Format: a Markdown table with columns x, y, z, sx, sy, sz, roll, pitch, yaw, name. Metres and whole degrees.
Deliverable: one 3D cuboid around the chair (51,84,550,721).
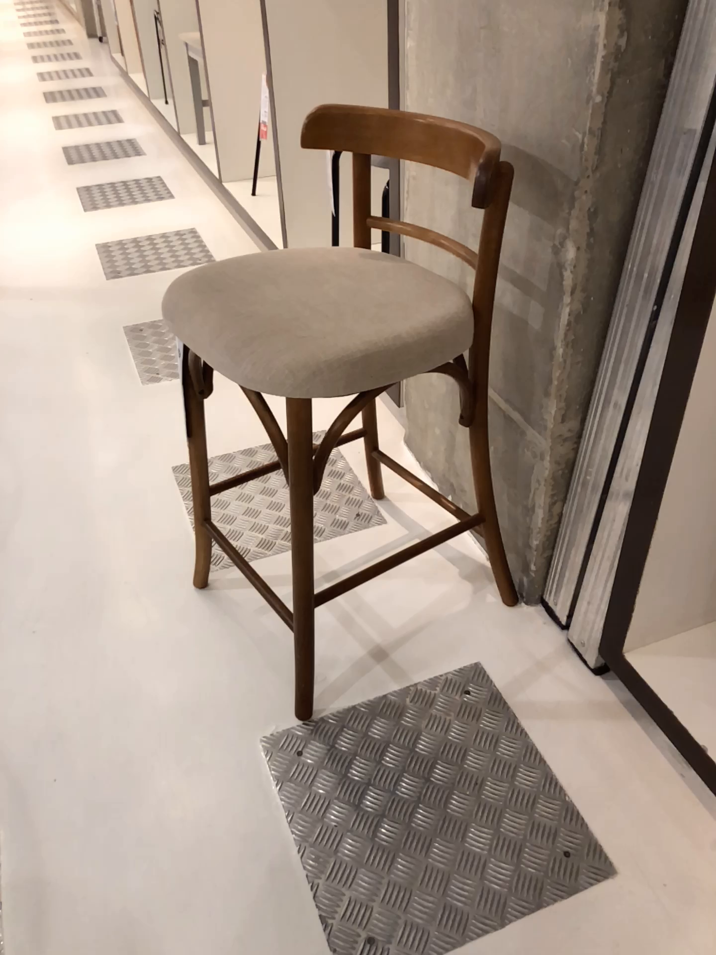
| x | y | z | sx | sy | sz | roll | pitch | yaw | name |
| --- | --- | --- | --- | --- | --- | --- | --- | --- | --- |
| -0.079 | -0.136 | 1.276 | 0.481 | 0.794 | 0.482 | -25 | 42 | -27 | chair |
